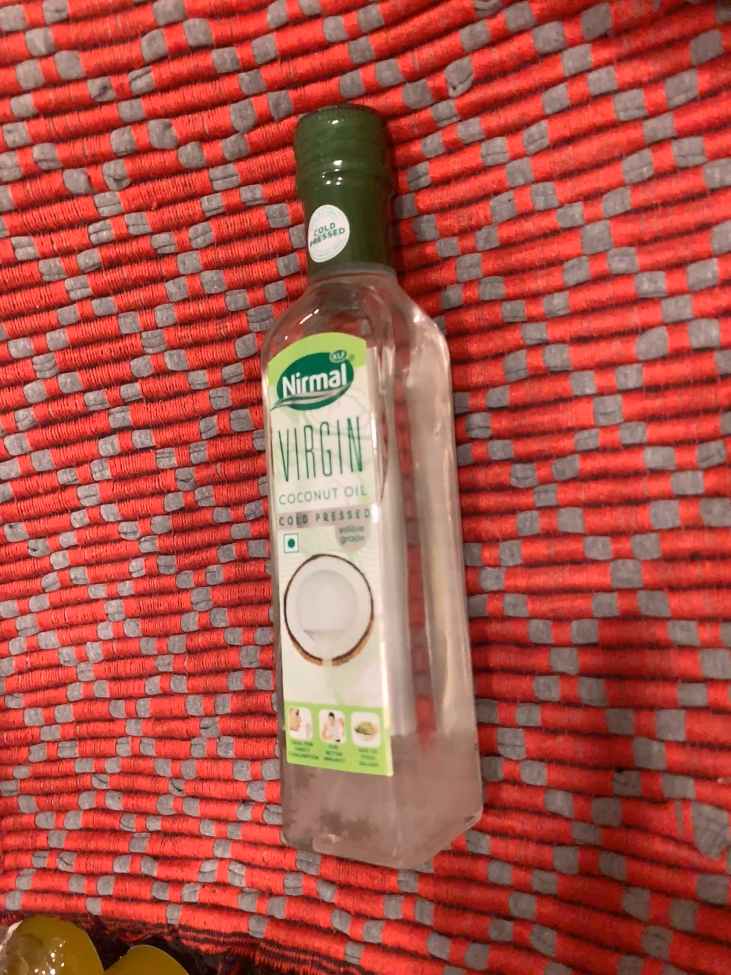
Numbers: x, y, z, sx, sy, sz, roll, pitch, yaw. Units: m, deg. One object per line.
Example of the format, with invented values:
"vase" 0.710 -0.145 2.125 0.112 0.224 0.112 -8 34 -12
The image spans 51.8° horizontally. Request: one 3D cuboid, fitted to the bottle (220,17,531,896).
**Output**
"bottle" 0.002 -0.010 0.227 0.060 0.060 0.220 -7 82 32
